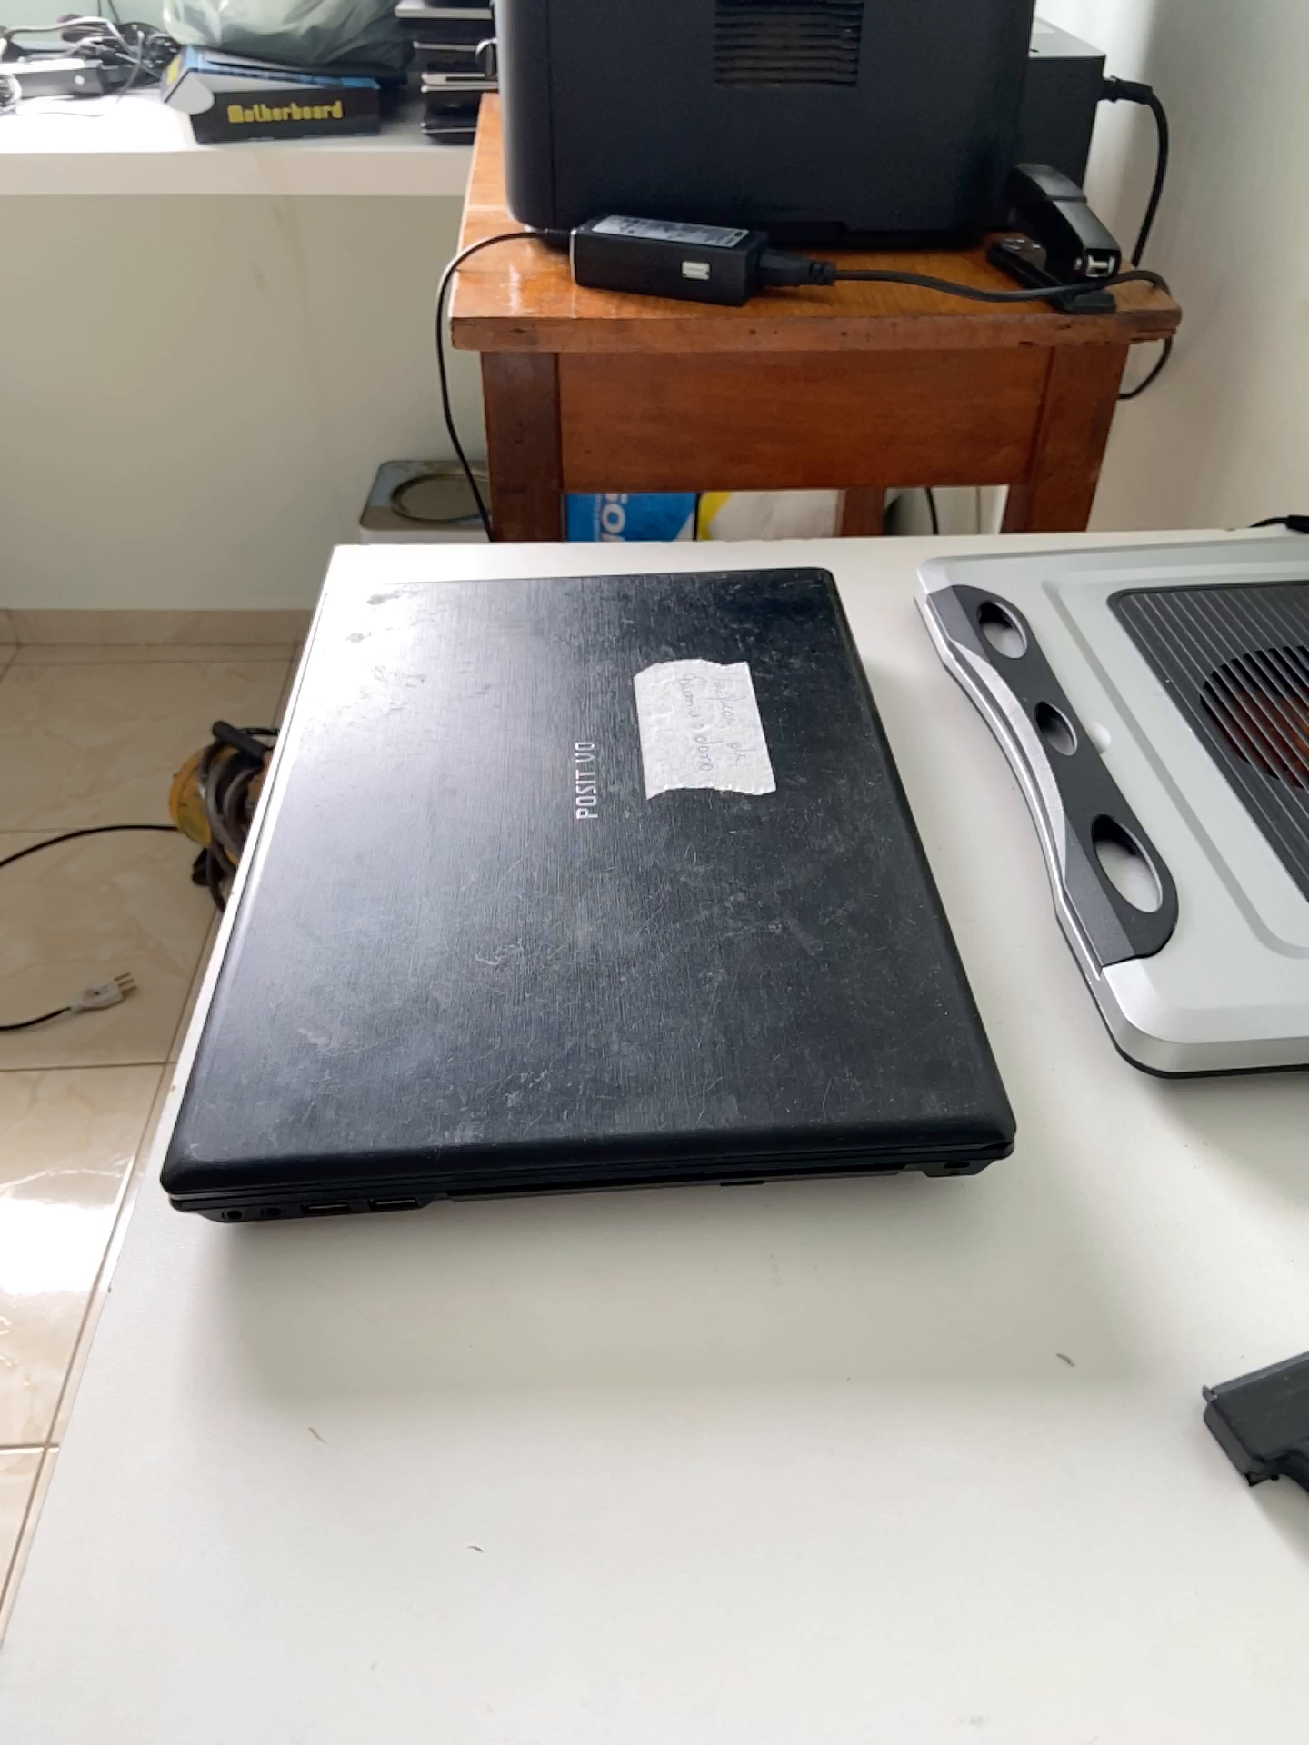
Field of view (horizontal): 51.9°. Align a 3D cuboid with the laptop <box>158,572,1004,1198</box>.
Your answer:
[{"bbox_3d":[-0.029,-0.025,0.500,0.233,0.008,0.330,-3,40,-1],"label":"laptop"}]
